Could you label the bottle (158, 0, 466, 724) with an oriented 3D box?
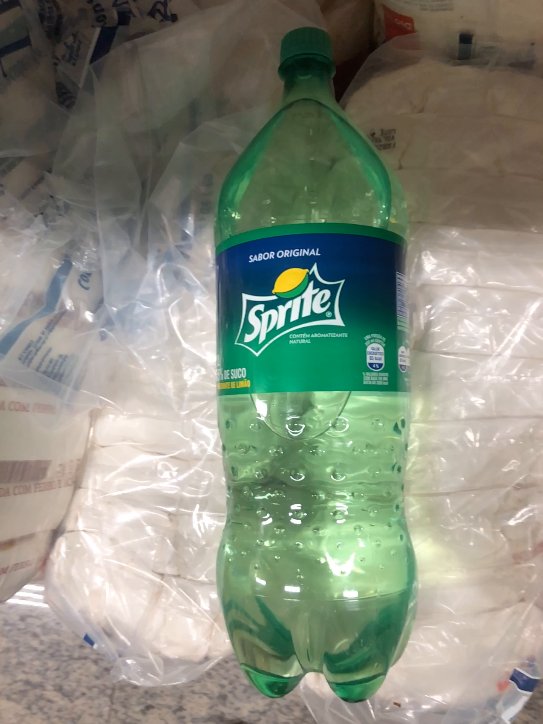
[{"bbox_3d":[0.025,-0.038,0.312,0.110,0.110,0.380,-2,76,12],"label":"bottle"}]
